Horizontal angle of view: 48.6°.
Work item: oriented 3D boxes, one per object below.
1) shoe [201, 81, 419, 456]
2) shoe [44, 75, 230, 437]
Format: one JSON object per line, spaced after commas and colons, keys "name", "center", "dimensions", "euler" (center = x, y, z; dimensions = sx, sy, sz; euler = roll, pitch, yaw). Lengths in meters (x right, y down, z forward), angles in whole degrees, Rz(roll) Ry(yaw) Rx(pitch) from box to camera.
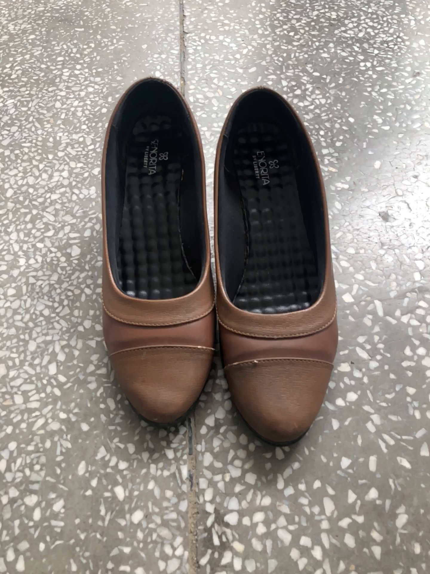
{"name": "shoe", "center": [0.044, -0.023, 0.327], "dimensions": [0.092, 0.096, 0.241], "euler": [-4, 57, 0]}
{"name": "shoe", "center": [-0.041, -0.032, 0.339], "dimensions": [0.090, 0.096, 0.244], "euler": [-3, 57, 1]}
